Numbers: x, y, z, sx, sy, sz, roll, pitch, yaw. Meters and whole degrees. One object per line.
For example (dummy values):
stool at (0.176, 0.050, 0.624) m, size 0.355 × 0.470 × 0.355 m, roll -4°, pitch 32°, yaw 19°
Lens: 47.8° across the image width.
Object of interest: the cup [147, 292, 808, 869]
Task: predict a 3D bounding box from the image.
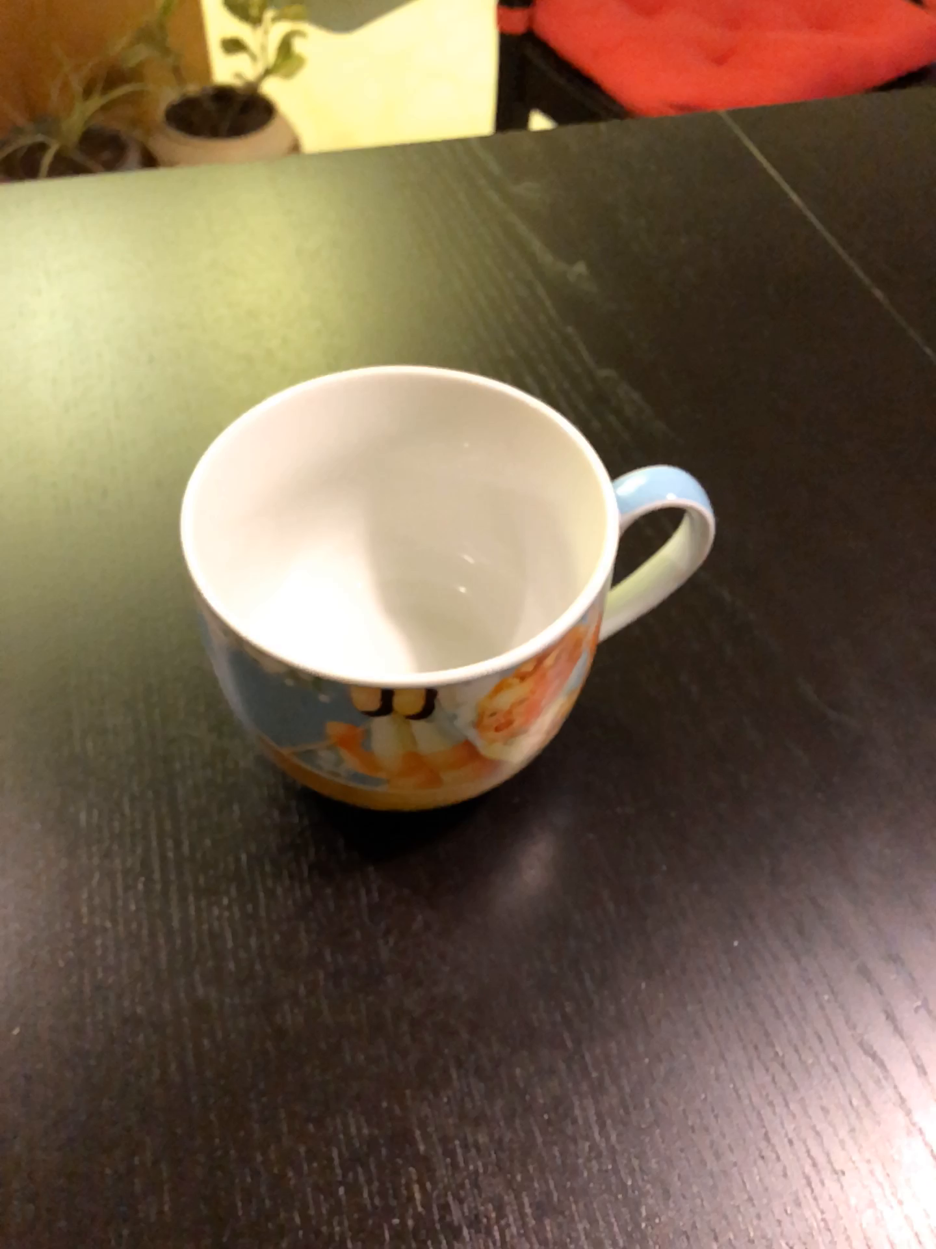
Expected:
cup at (-0.006, -0.017, 0.315) m, size 0.150 × 0.090 × 0.121 m, roll -10°, pitch 52°, yaw -10°
